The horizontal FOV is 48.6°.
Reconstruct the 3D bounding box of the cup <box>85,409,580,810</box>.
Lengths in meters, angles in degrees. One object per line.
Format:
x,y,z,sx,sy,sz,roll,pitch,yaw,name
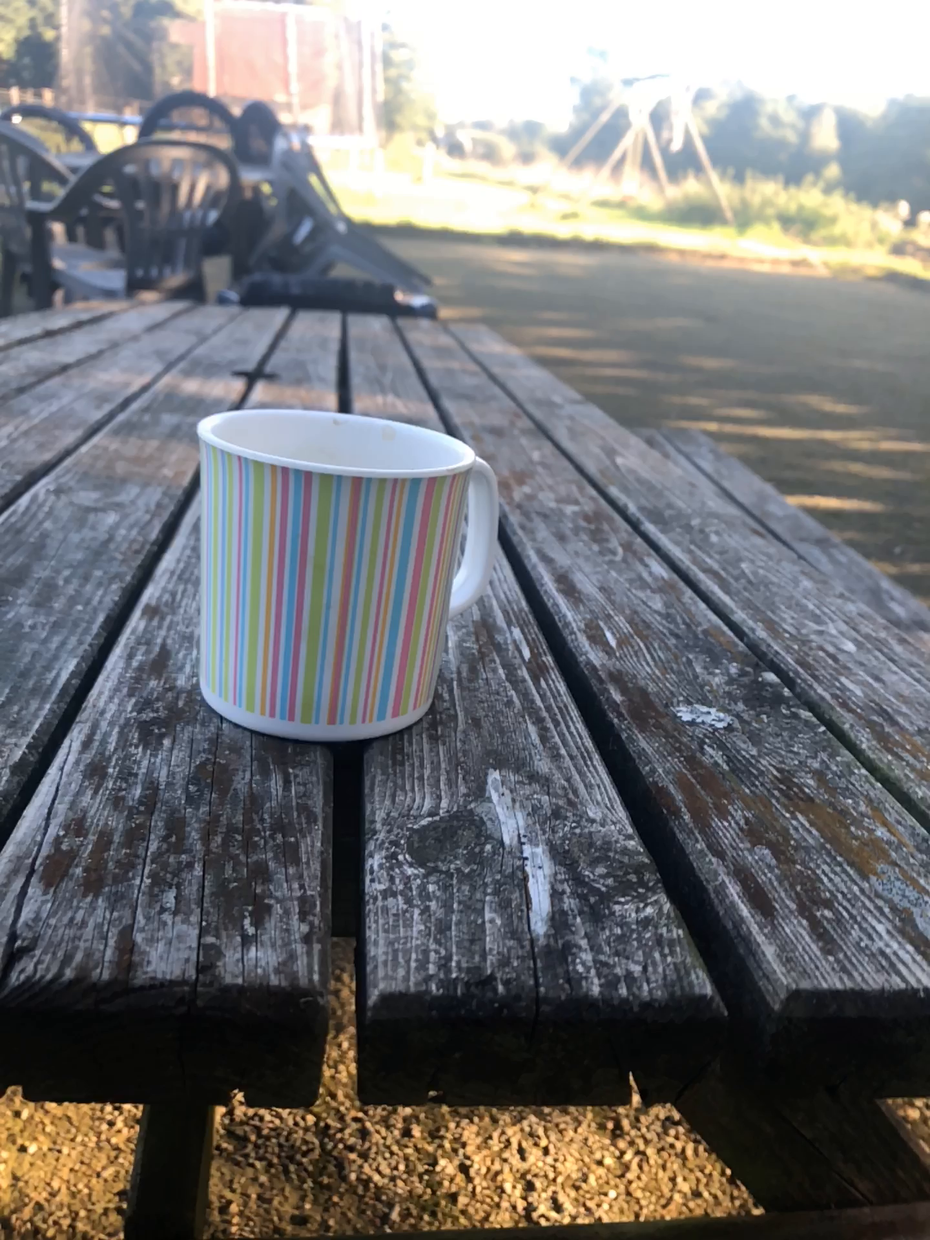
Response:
-0.049,-0.015,0.368,0.134,0.096,0.098,-11,29,-41,cup
